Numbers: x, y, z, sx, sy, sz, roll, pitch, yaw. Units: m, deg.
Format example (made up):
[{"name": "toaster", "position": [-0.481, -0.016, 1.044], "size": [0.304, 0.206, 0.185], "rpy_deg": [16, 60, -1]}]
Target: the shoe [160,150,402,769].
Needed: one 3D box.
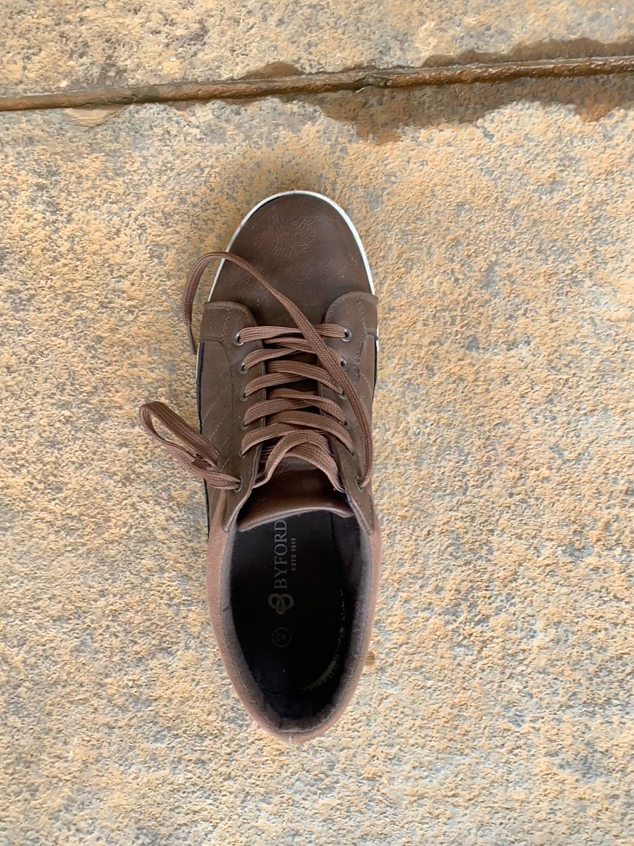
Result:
[{"name": "shoe", "position": [-0.018, 0.017, 0.360], "size": [0.110, 0.080, 0.300], "rpy_deg": [-2, 86, 4]}]
